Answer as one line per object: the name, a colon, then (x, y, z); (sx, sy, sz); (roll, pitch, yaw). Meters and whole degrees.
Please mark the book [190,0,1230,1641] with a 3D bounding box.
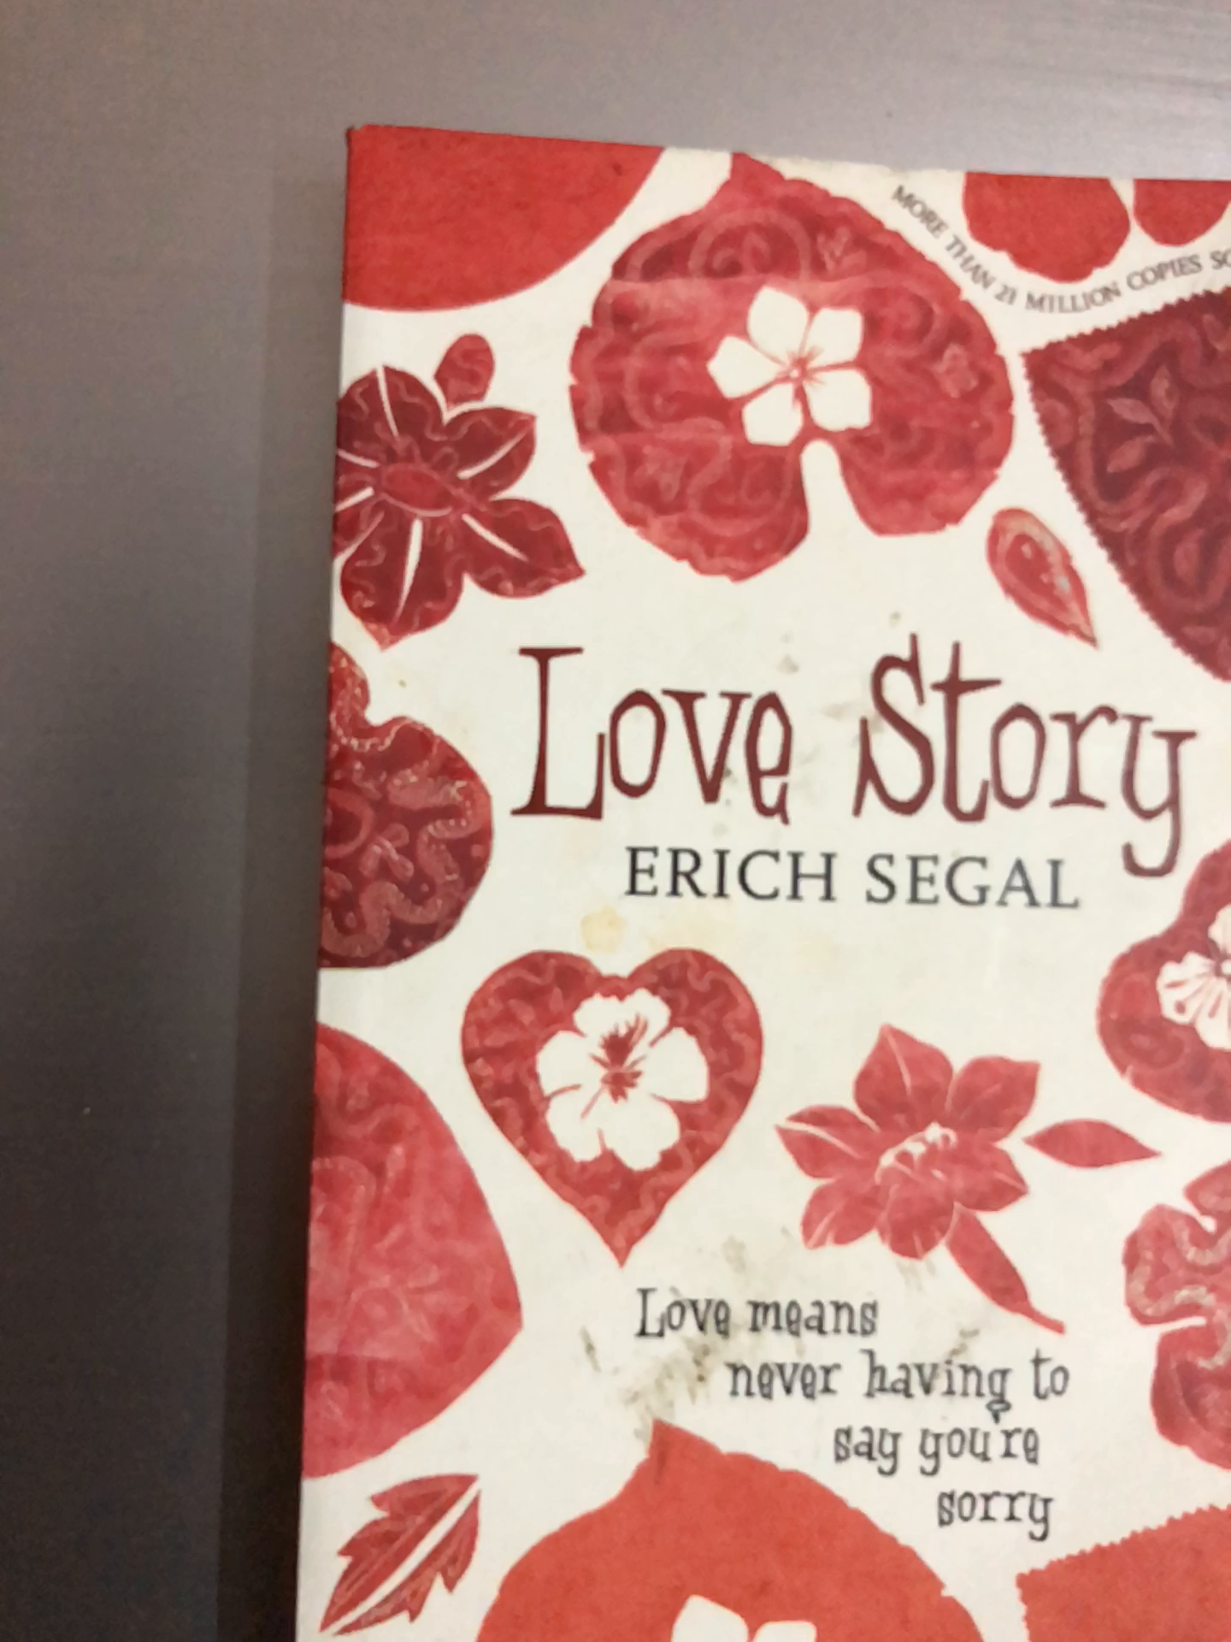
book: (0.020, 0.005, 0.160); (0.120, 0.030, 0.180); (2, 87, -6)
